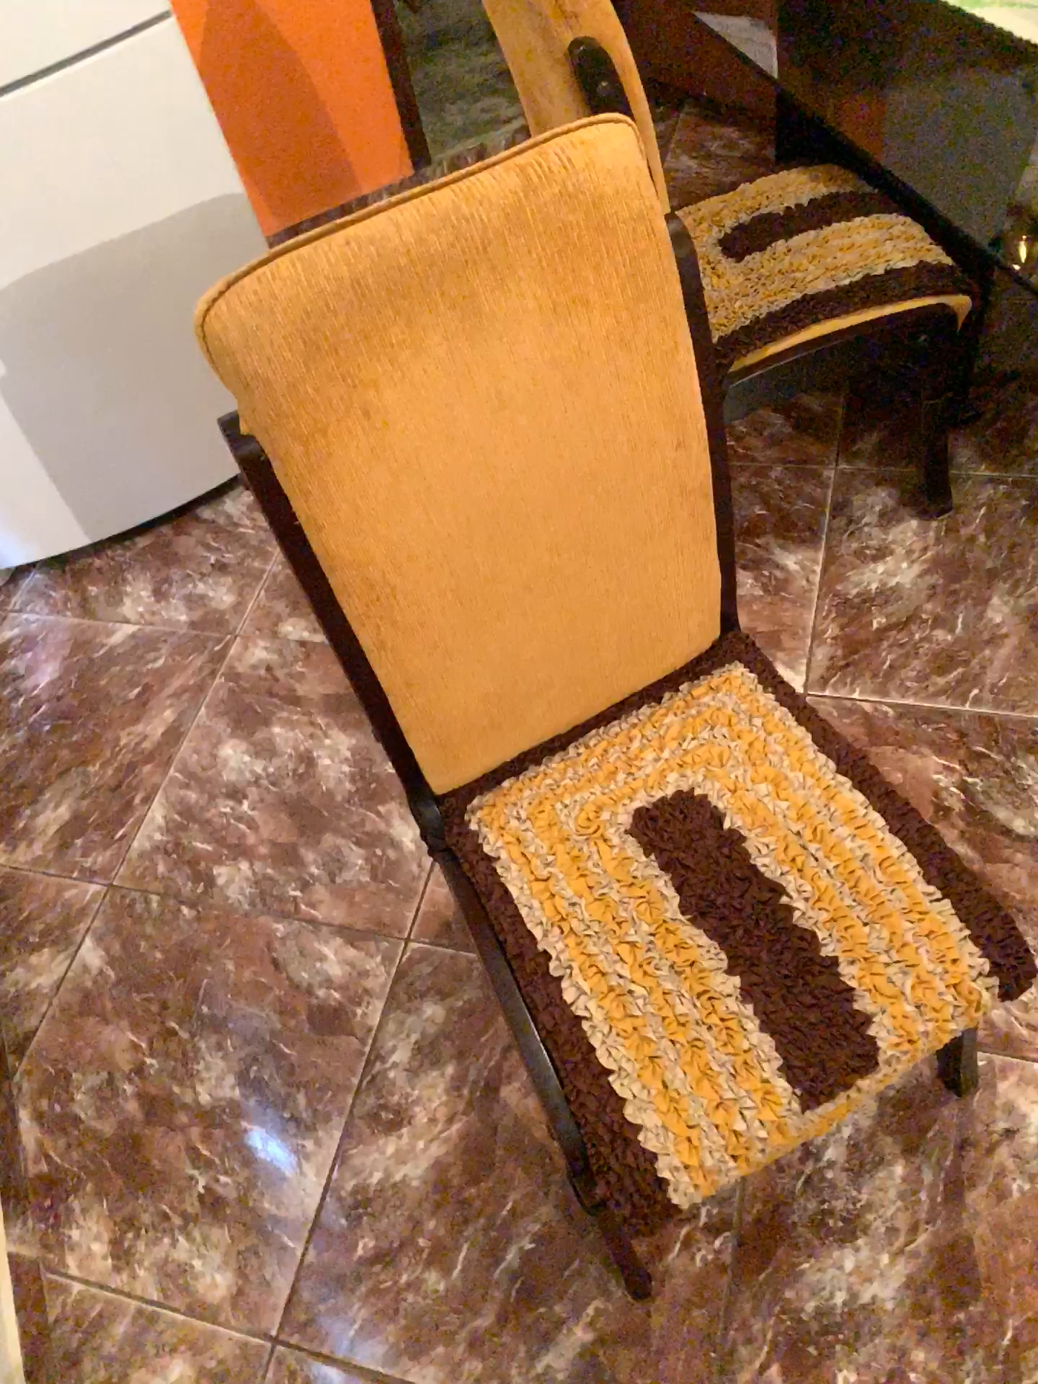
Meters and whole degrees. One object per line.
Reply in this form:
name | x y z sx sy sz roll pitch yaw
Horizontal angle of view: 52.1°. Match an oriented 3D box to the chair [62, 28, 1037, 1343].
chair | 0.143 0.090 0.973 0.560 0.936 0.603 -28 54 -8
